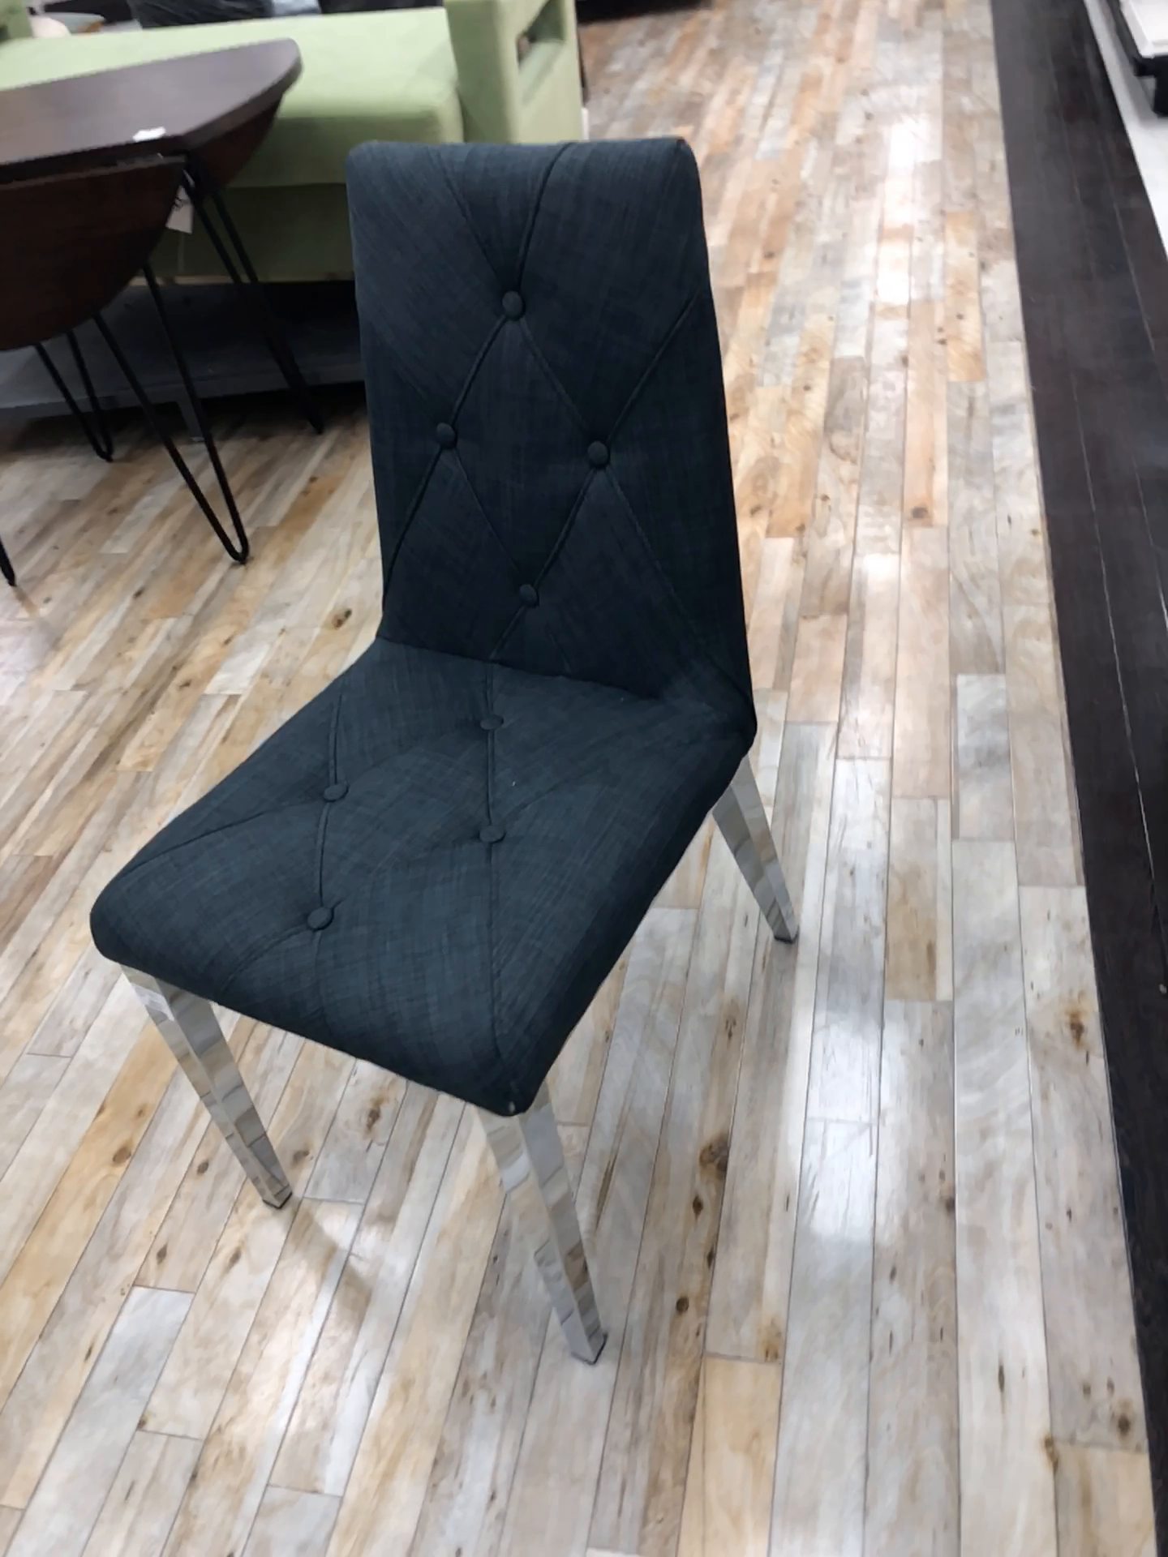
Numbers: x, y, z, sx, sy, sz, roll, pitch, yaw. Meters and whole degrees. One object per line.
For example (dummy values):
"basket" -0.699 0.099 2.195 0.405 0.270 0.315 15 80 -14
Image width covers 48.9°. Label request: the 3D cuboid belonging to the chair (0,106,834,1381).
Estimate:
"chair" -0.120 -0.024 1.134 0.451 0.866 0.581 14 47 28
